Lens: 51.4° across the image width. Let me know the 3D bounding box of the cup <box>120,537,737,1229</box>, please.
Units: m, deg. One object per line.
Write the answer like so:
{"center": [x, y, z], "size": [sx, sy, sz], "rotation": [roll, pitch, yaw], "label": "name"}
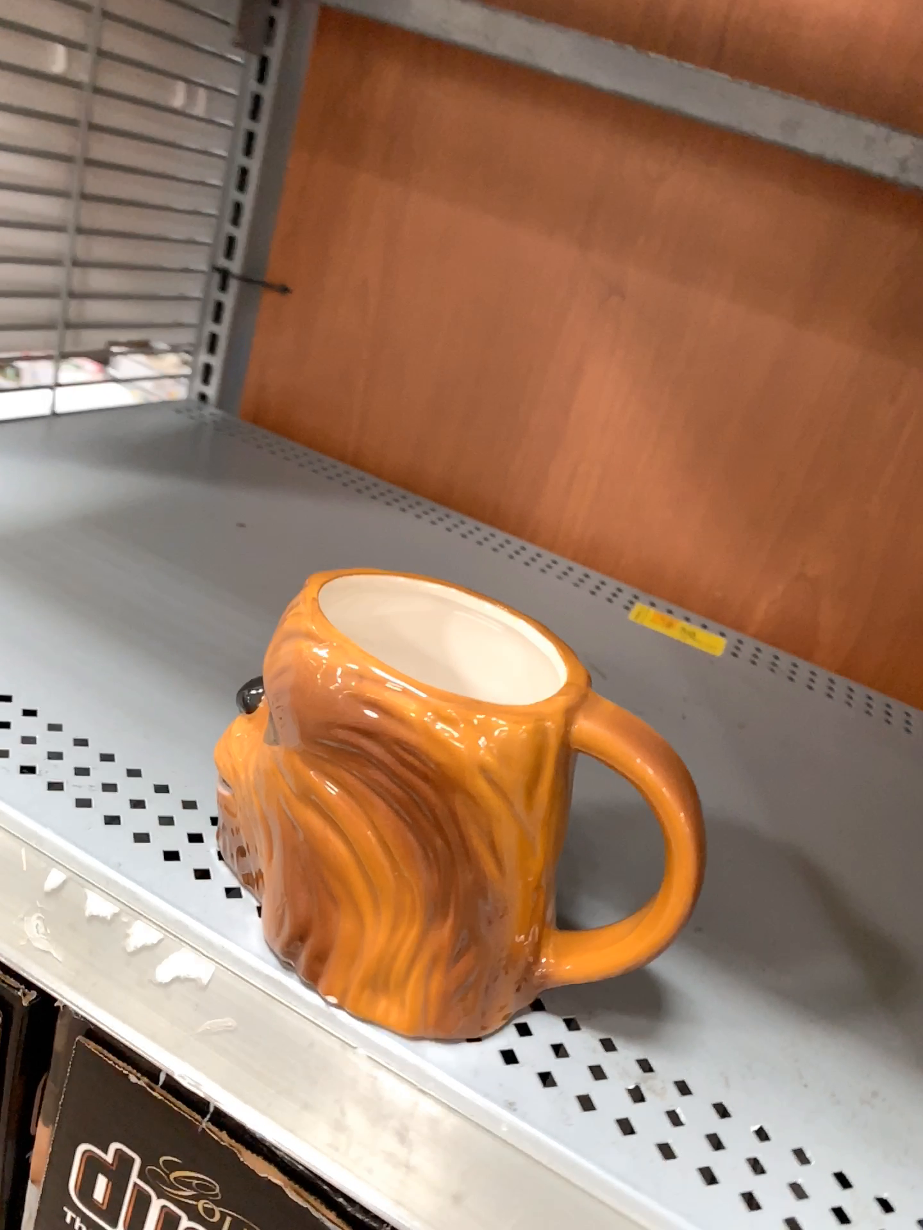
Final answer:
{"center": [-0.011, 0.073, 0.299], "size": [0.131, 0.138, 0.098], "rotation": [25, 25, 16], "label": "cup"}
